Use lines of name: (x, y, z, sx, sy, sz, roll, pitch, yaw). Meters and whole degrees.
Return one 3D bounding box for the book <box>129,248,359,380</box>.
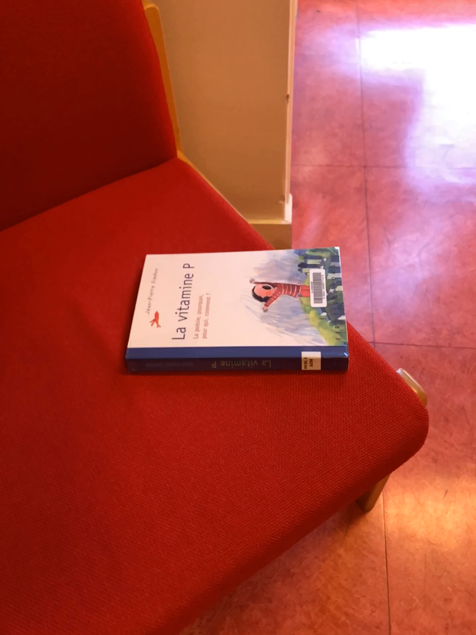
book: (0.007, -0.007, 0.545, 0.215, 0.027, 0.148, 0, 54, 3)
